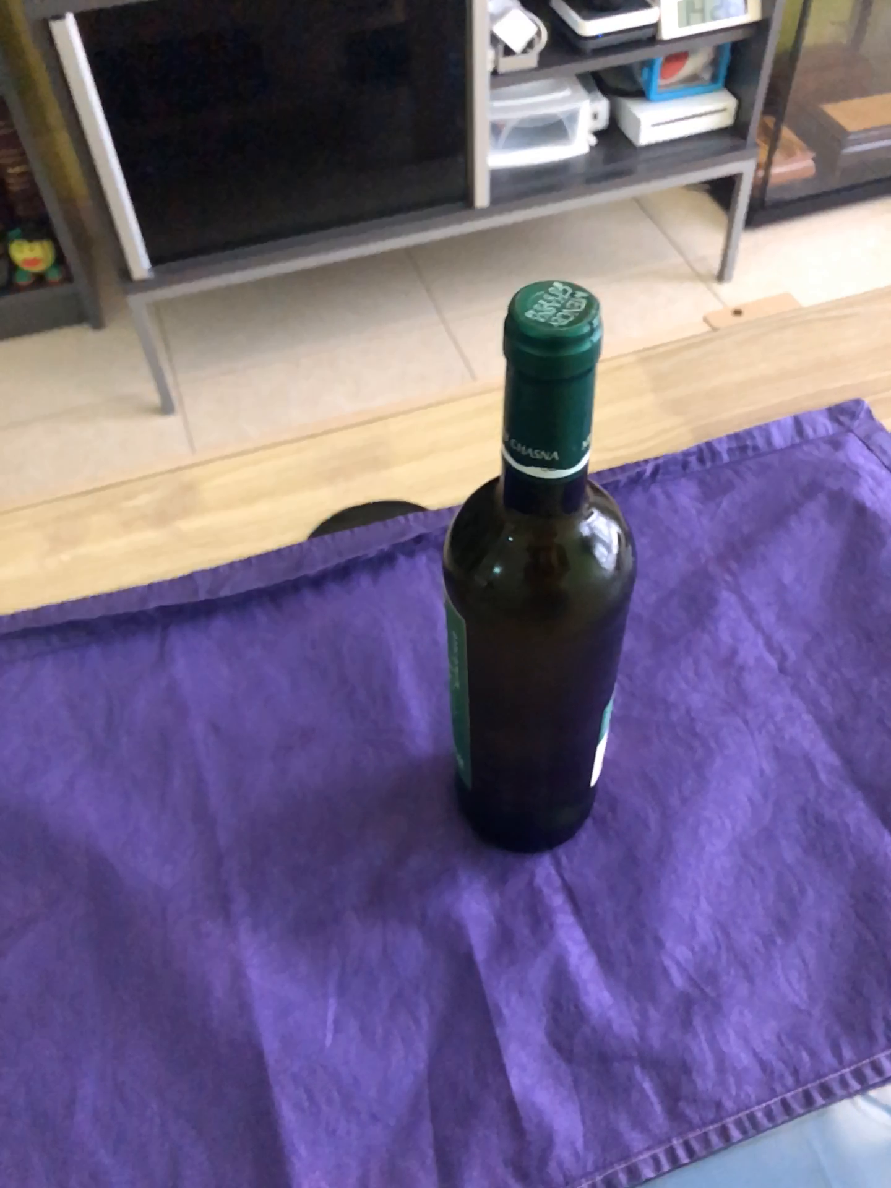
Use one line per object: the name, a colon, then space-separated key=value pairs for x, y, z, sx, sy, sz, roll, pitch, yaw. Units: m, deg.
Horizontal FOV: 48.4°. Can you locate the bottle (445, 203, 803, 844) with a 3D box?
bottle: x=0.051 y=-0.002 z=0.385 sx=0.090 sy=0.269 sz=0.090 roll=-1 pitch=52 yaw=2
